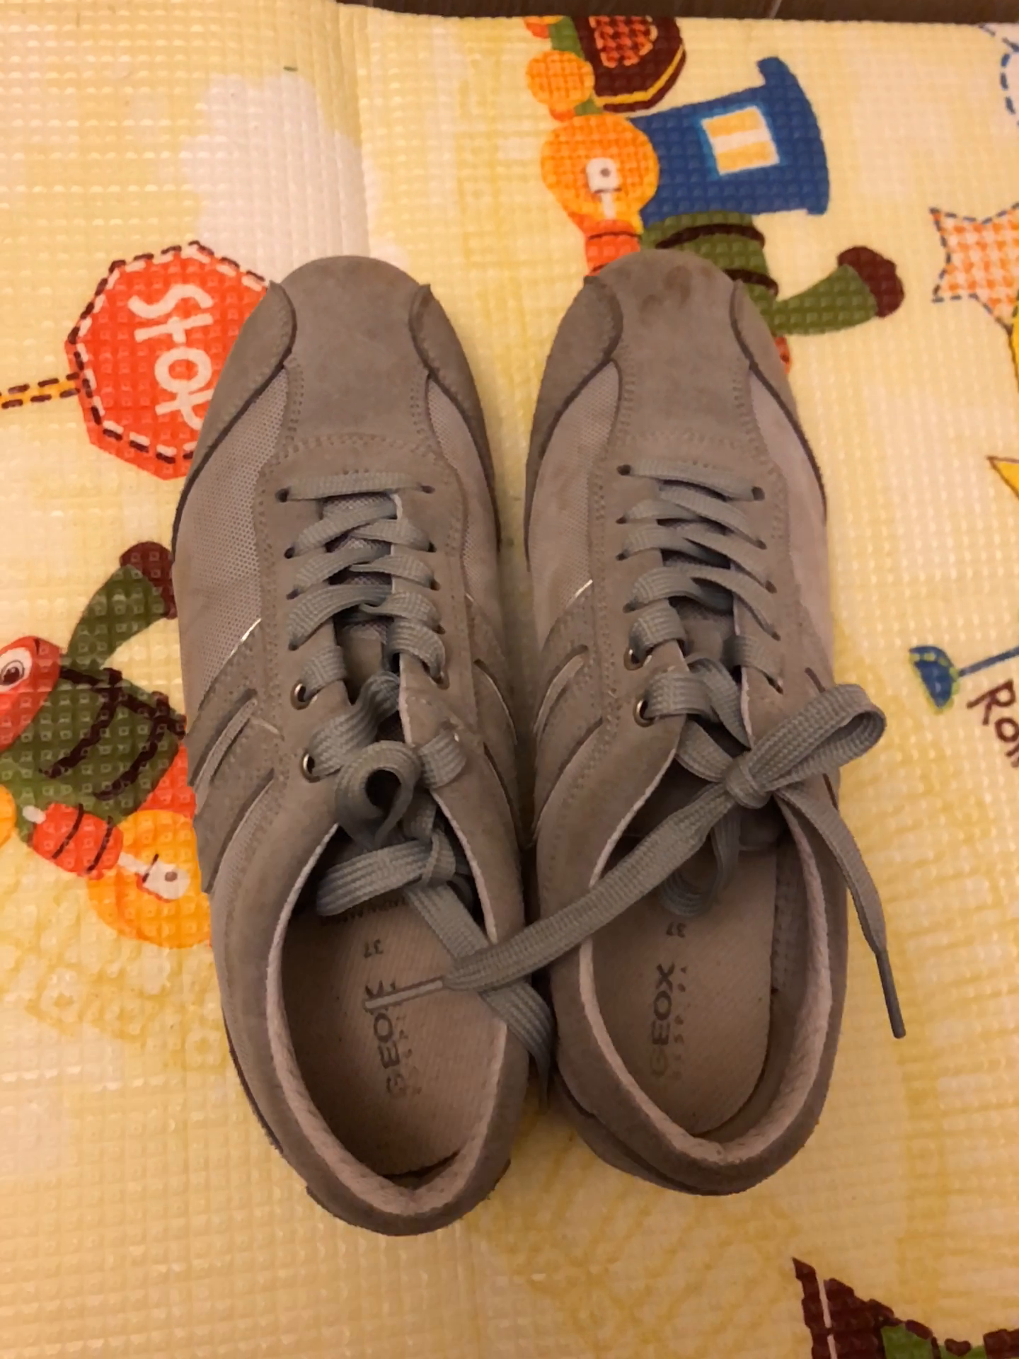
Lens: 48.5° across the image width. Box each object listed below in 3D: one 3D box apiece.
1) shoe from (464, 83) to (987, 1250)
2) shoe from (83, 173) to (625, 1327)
[{"bbox_3d":[0.044,-0.001,0.284,0.090,0.120,0.230,4,80,-5],"label":"shoe"},{"bbox_3d":[-0.041,0.013,0.291,0.090,0.120,0.230,-6,81,-7],"label":"shoe"}]
